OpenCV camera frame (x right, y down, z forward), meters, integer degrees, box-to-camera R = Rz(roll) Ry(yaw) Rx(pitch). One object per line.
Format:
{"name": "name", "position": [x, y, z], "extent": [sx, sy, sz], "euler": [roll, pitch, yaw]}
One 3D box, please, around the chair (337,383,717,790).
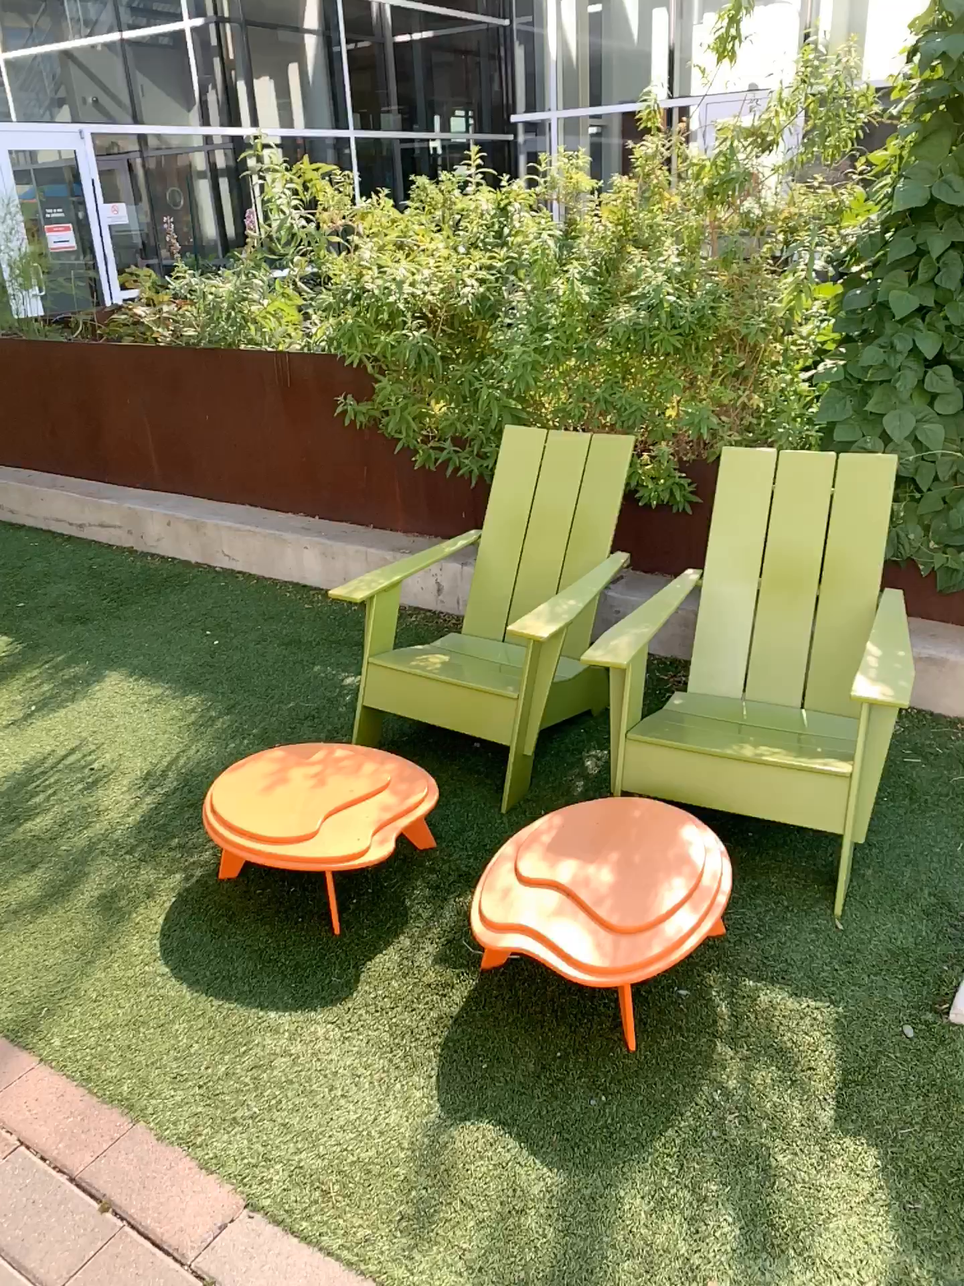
{"name": "chair", "position": [0.147, -0.231, 3.074], "extent": [0.772, 1.007, 0.820], "euler": [13, 14, 31]}

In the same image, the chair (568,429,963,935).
{"name": "chair", "position": [0.773, 0.010, 2.534], "extent": [0.732, 1.018, 0.820], "euler": [10, 12, 29]}
